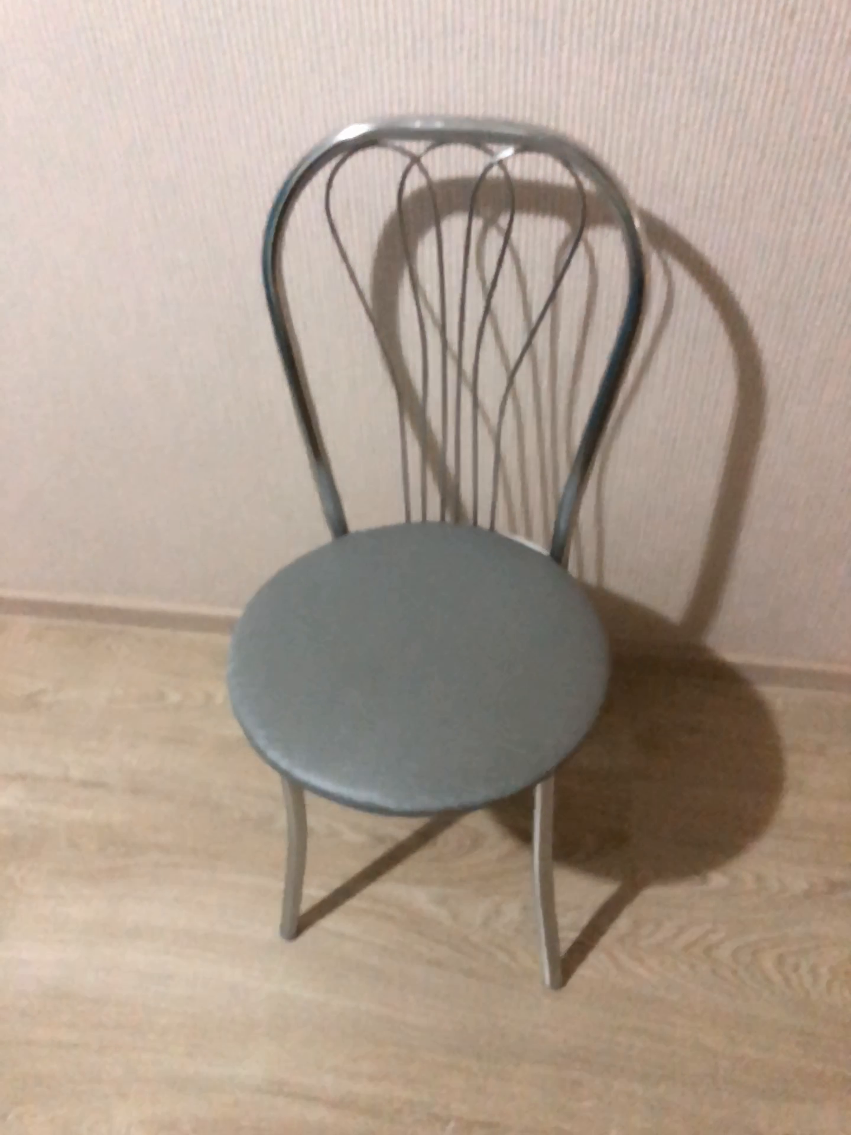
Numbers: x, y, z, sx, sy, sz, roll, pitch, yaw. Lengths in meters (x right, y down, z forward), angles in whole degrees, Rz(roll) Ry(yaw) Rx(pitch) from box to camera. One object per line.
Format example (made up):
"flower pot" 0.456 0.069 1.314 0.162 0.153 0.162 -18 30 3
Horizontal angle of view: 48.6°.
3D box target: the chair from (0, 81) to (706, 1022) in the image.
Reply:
"chair" 0.005 0.033 0.969 0.400 0.825 0.473 8 47 10
